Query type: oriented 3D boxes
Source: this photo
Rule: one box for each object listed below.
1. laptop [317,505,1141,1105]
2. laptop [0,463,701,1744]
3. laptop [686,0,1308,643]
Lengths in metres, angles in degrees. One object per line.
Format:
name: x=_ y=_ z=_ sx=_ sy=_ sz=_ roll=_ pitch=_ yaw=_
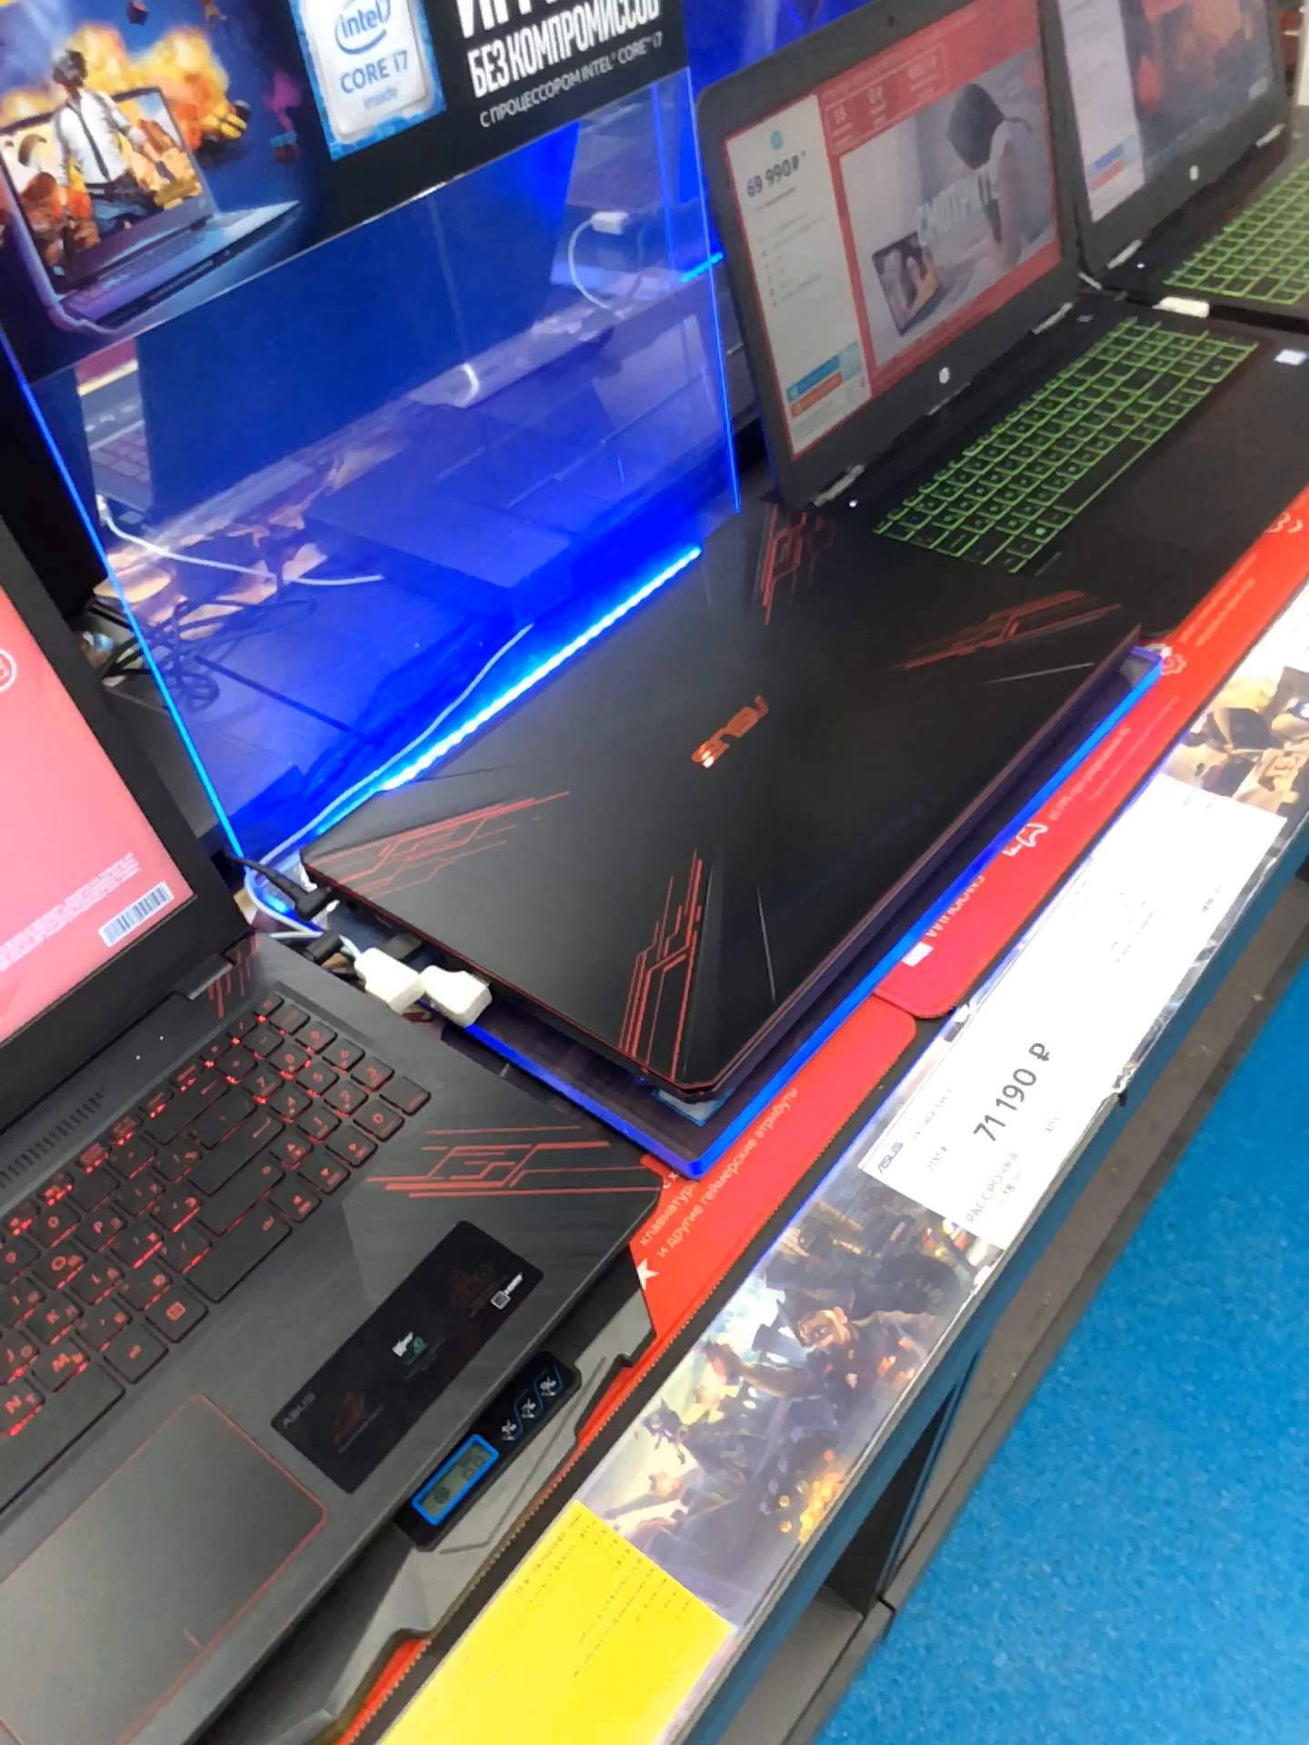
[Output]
laptop: x=0.047 y=-0.067 z=0.735 sx=0.244 sy=0.006 sz=0.374 roll=26 pitch=55 yaw=31
laptop: x=-0.246 y=0.099 z=0.443 sx=0.319 sy=0.231 sz=0.391 roll=24 pitch=53 yaw=31
laptop: x=0.268 y=-0.377 z=0.868 sx=0.292 sy=0.242 sz=0.375 roll=26 pitch=54 yaw=31
